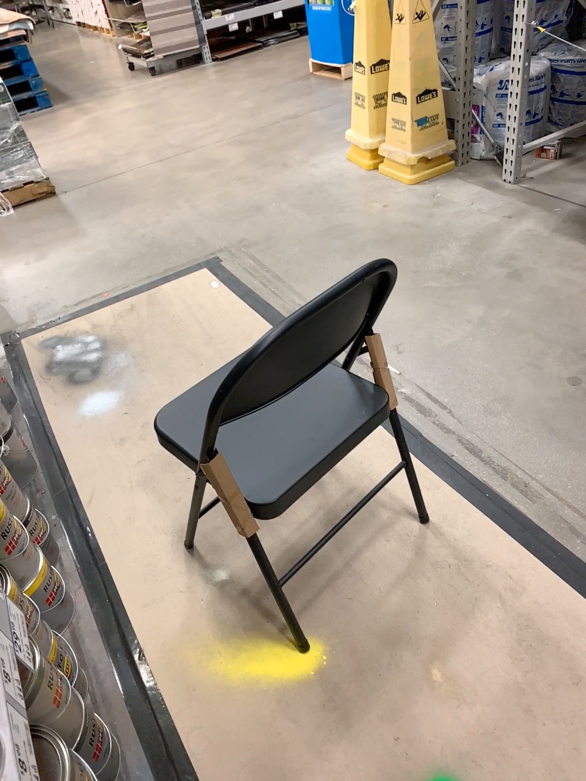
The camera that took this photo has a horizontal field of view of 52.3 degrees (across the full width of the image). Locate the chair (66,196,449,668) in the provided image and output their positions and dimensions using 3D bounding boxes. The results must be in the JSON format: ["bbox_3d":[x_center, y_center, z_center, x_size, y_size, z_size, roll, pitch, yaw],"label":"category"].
[{"bbox_3d":[-0.019,0.072,1.220,0.452,0.713,0.476,-36,45,-28],"label":"chair"}]
